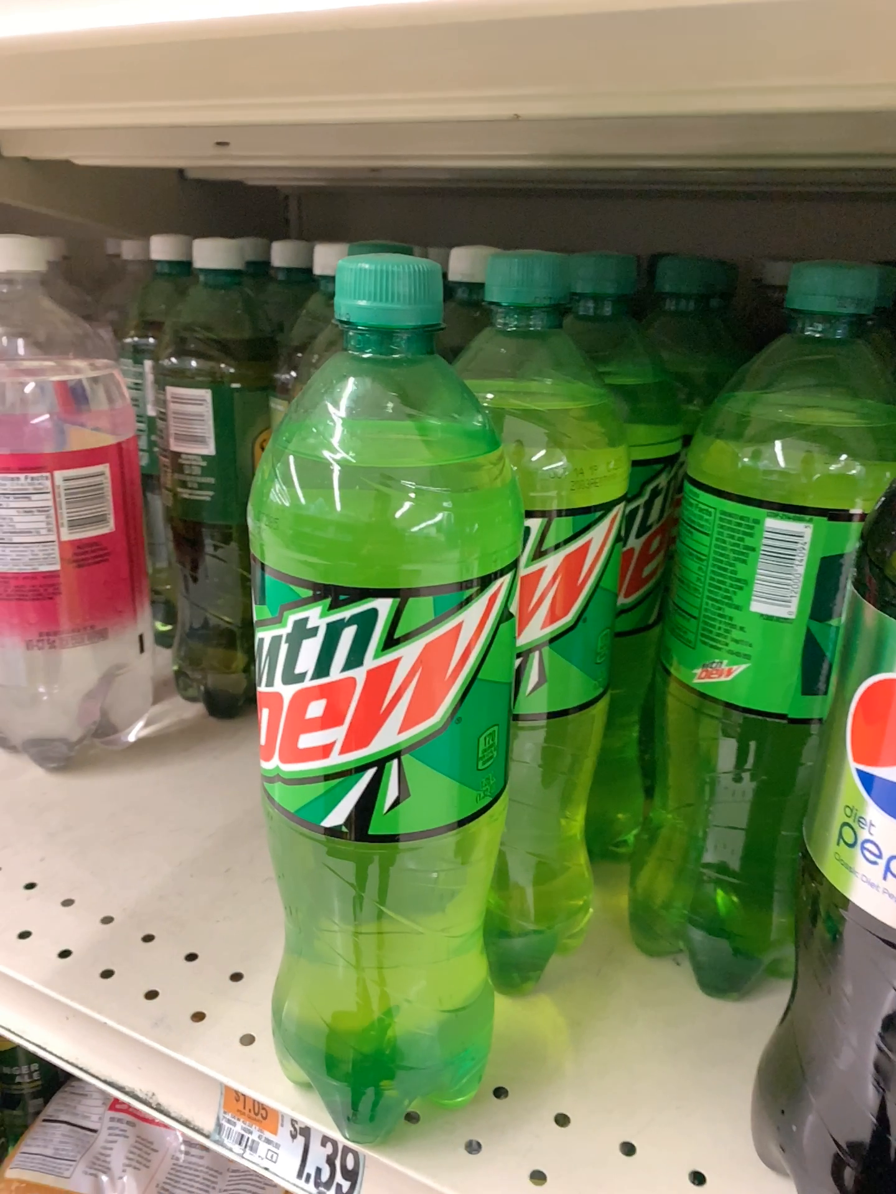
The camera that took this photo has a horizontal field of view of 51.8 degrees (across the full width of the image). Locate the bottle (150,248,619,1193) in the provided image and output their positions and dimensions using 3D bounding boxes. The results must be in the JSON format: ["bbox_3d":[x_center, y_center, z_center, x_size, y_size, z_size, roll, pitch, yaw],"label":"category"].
[{"bbox_3d":[-0.019,0.045,0.314,0.100,0.302,0.090,13,23,27],"label":"bottle"}]
